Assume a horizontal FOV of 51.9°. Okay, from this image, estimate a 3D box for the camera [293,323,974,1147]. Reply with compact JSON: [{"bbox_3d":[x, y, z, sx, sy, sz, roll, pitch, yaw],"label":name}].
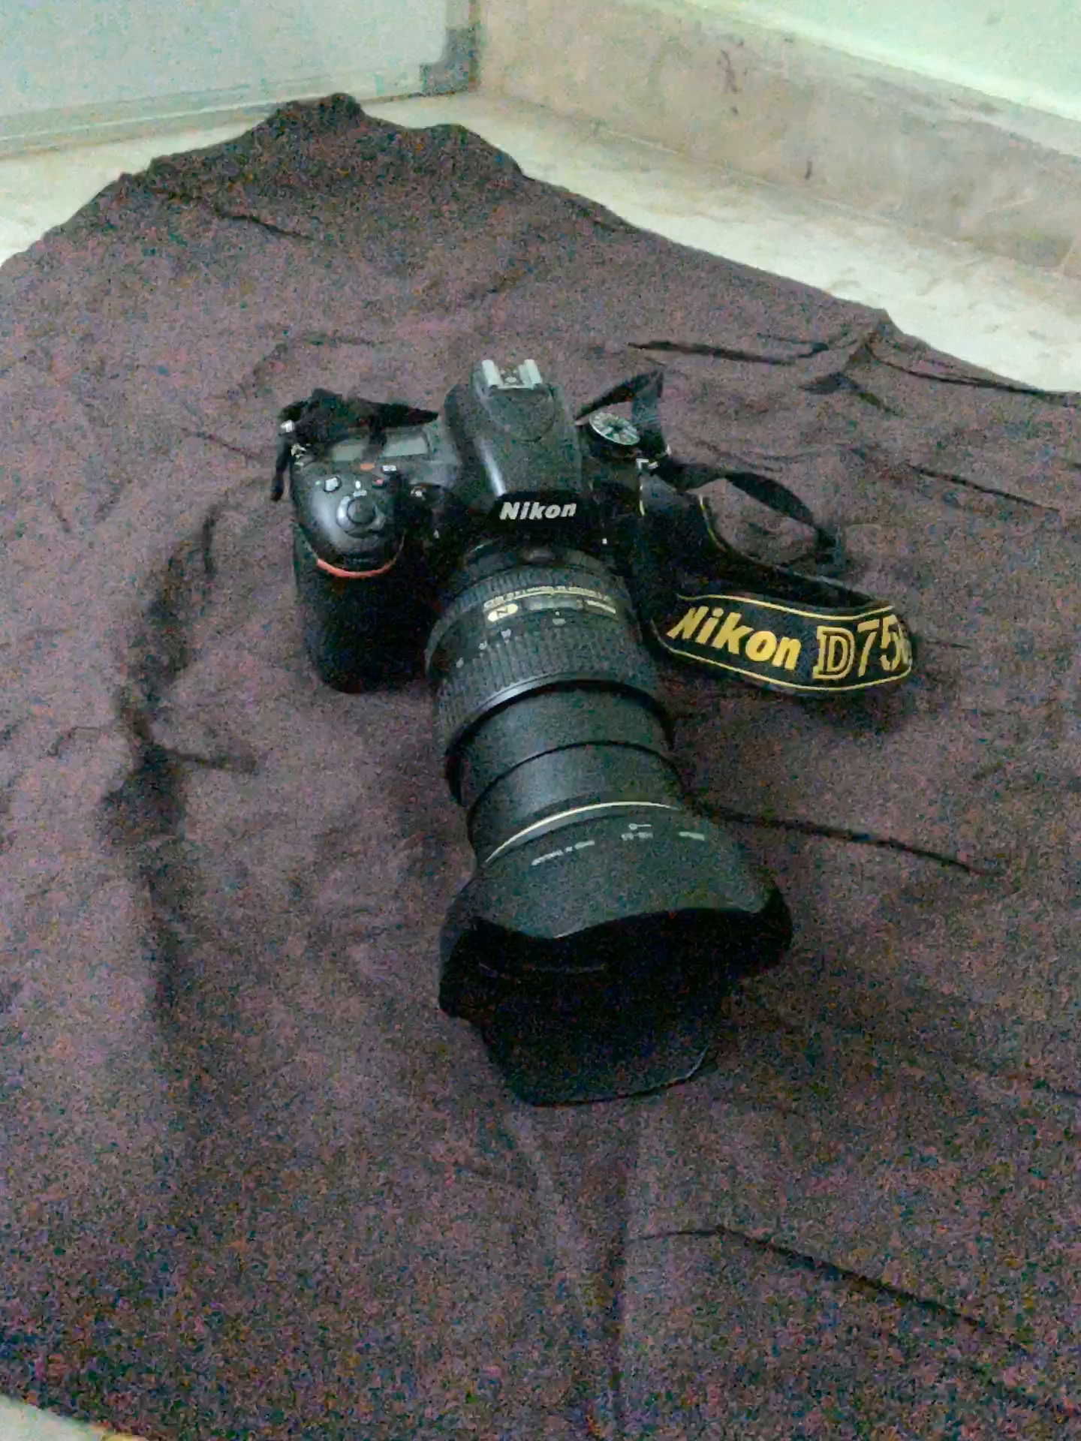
[{"bbox_3d":[0.002,-0.017,0.393,0.161,0.100,0.279,-3,50,-13],"label":"camera"}]
